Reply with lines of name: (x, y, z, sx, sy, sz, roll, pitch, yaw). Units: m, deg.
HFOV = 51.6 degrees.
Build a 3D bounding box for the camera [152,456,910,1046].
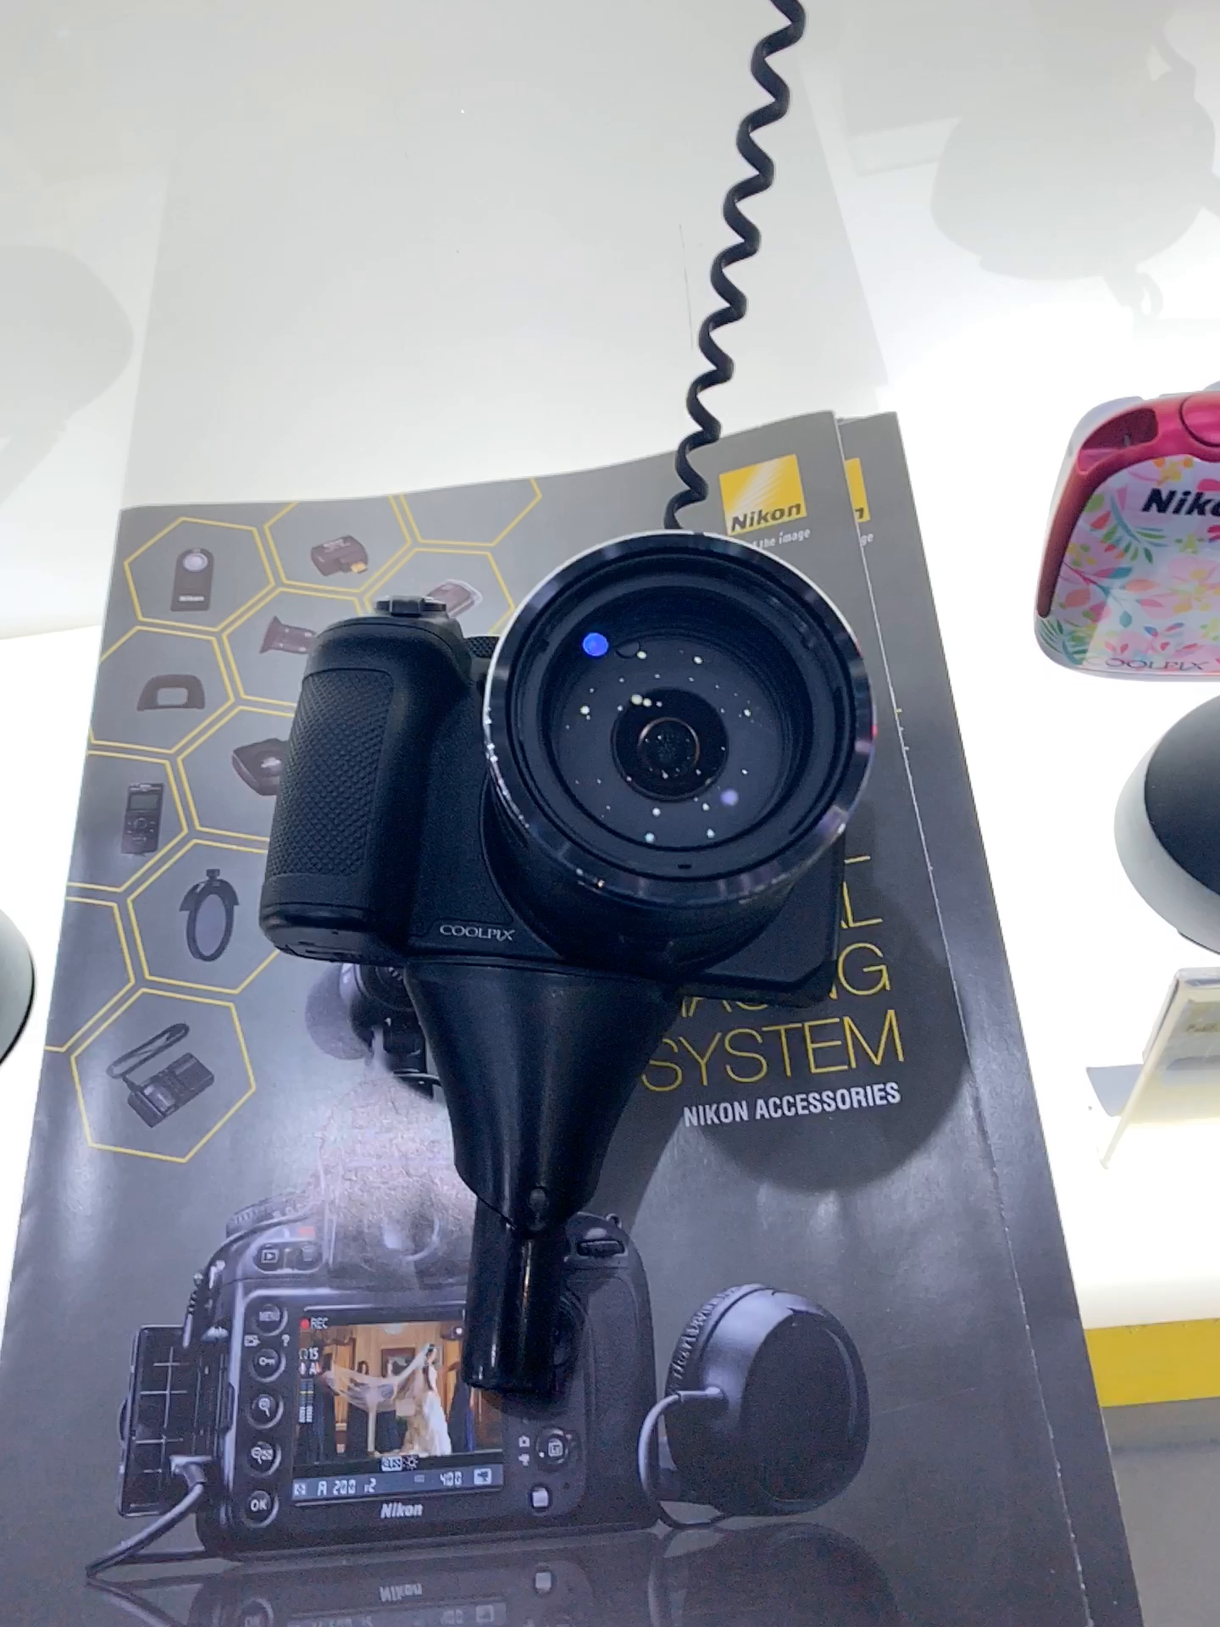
camera: (-0.007, -0.009, 0.252, 0.120, 0.080, 0.090, 4, 76, 10)
